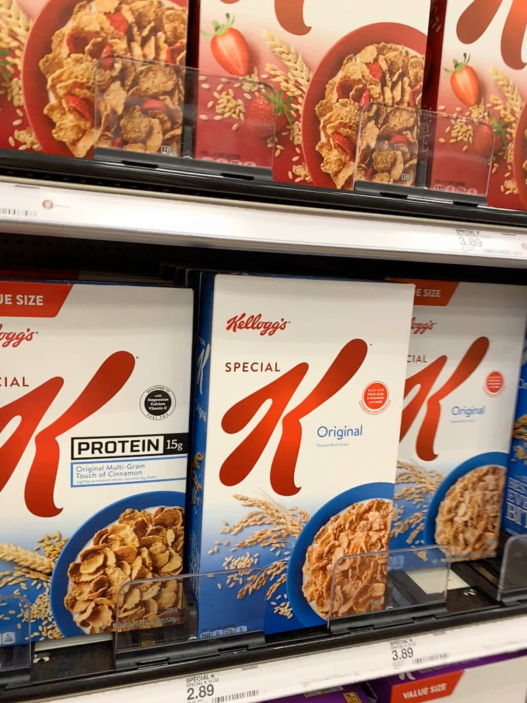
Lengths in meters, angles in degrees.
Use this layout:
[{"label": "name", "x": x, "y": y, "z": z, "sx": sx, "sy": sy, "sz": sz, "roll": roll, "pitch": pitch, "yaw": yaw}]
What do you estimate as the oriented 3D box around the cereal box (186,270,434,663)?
[{"label": "cereal box", "x": 0.038, "y": 0.094, "z": 0.485, "sx": 0.190, "sy": 0.319, "sz": 0.060, "roll": 1, "pitch": 8, "yaw": -20}]
